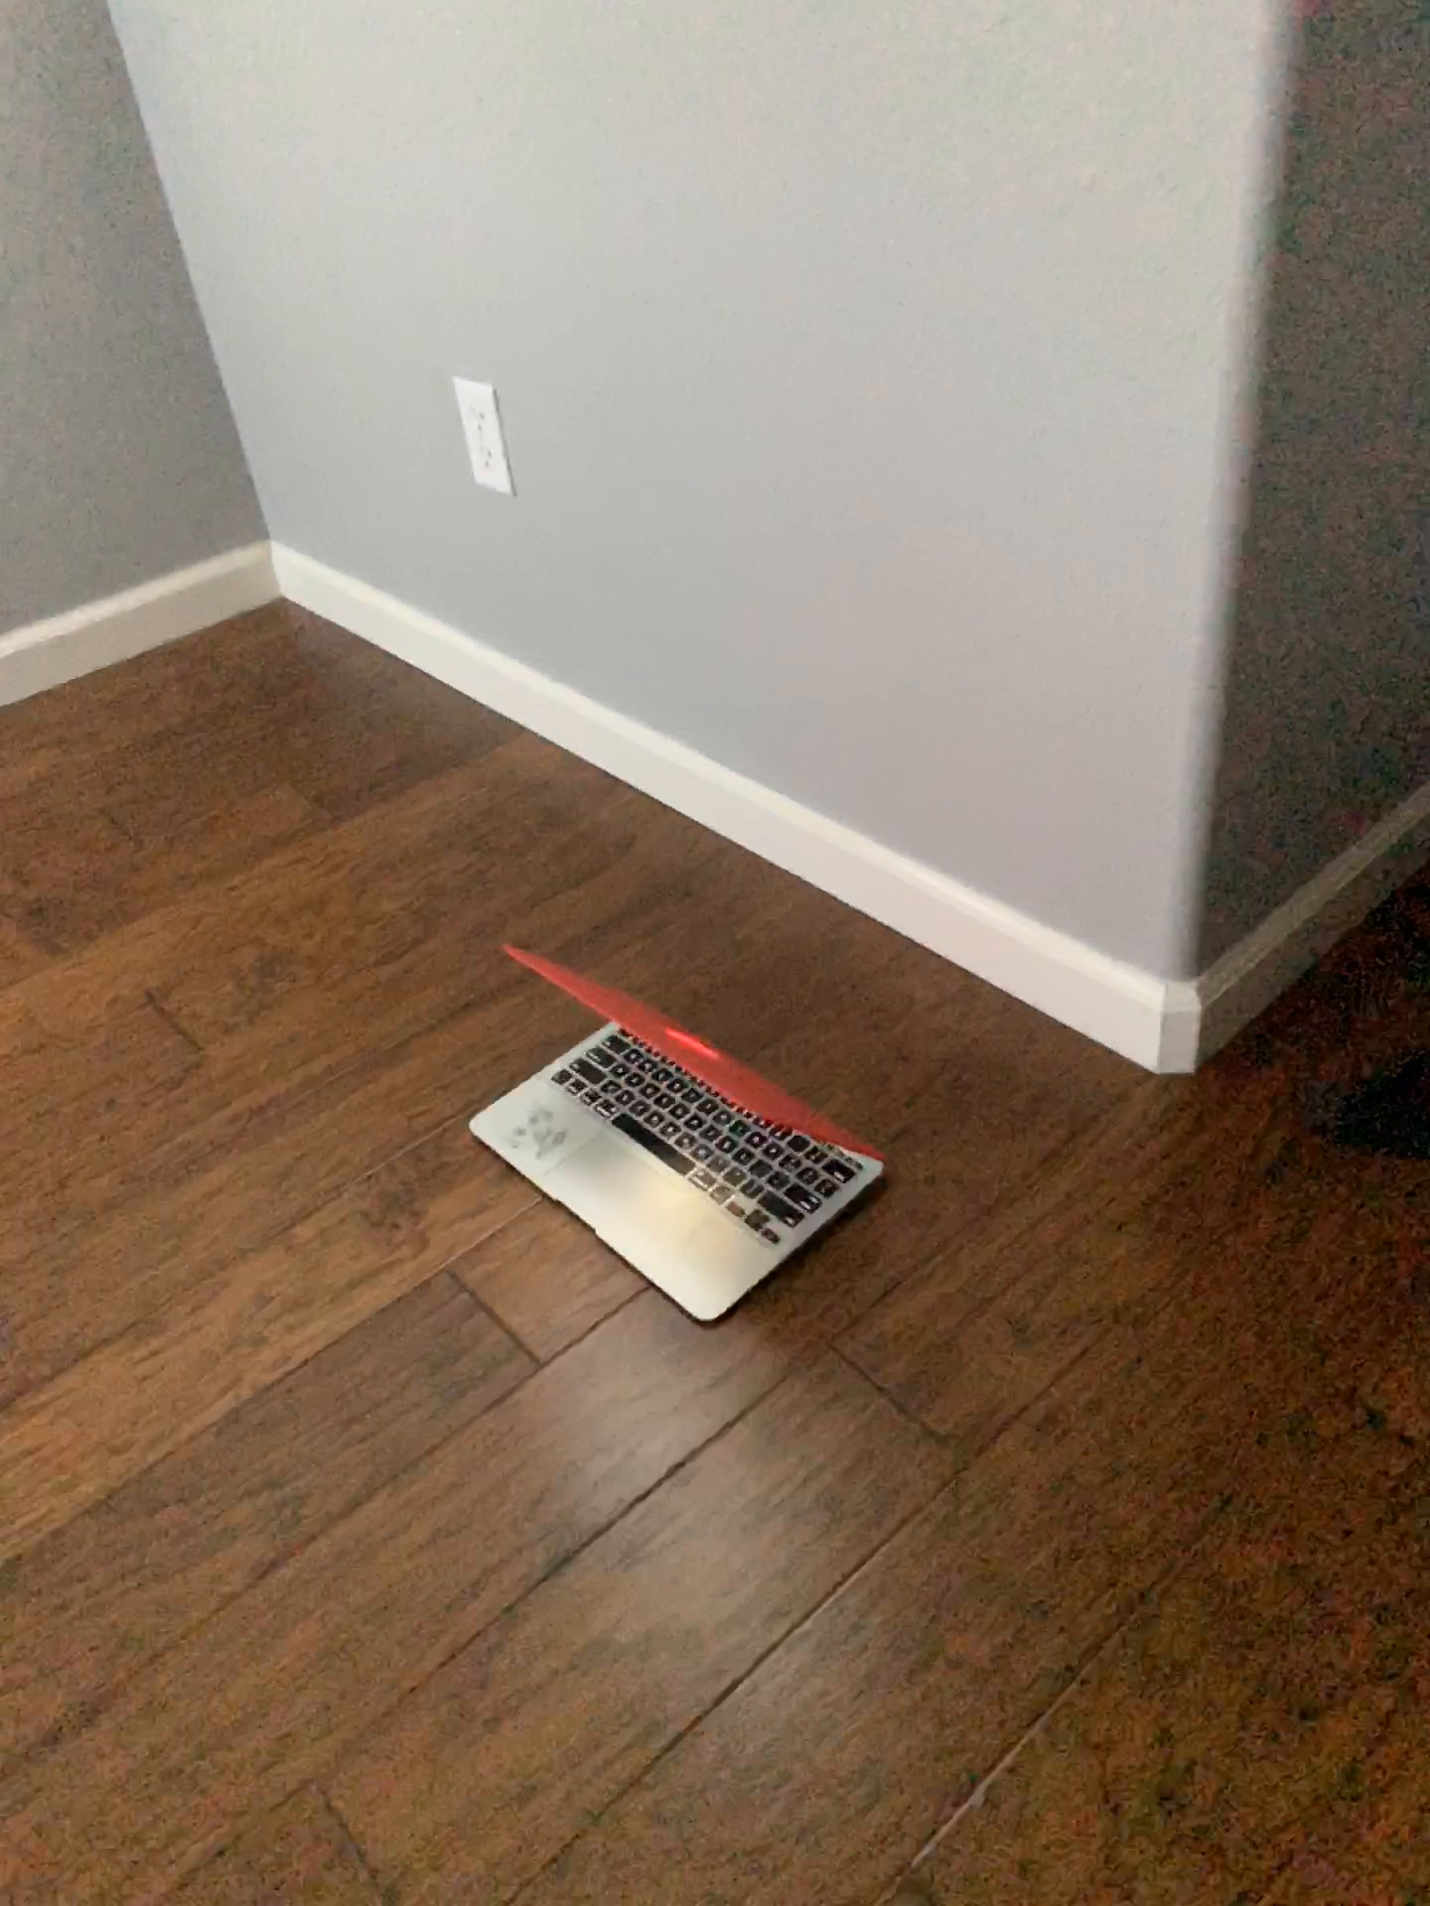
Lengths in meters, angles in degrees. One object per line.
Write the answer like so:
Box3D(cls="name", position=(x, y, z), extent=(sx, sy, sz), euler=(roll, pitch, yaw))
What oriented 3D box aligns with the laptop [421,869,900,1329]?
Box3D(cls="laptop", position=(-0.042, 0.095, 1.103), extent=(0.198, 0.139, 0.302), euler=(-33, 44, -29))
